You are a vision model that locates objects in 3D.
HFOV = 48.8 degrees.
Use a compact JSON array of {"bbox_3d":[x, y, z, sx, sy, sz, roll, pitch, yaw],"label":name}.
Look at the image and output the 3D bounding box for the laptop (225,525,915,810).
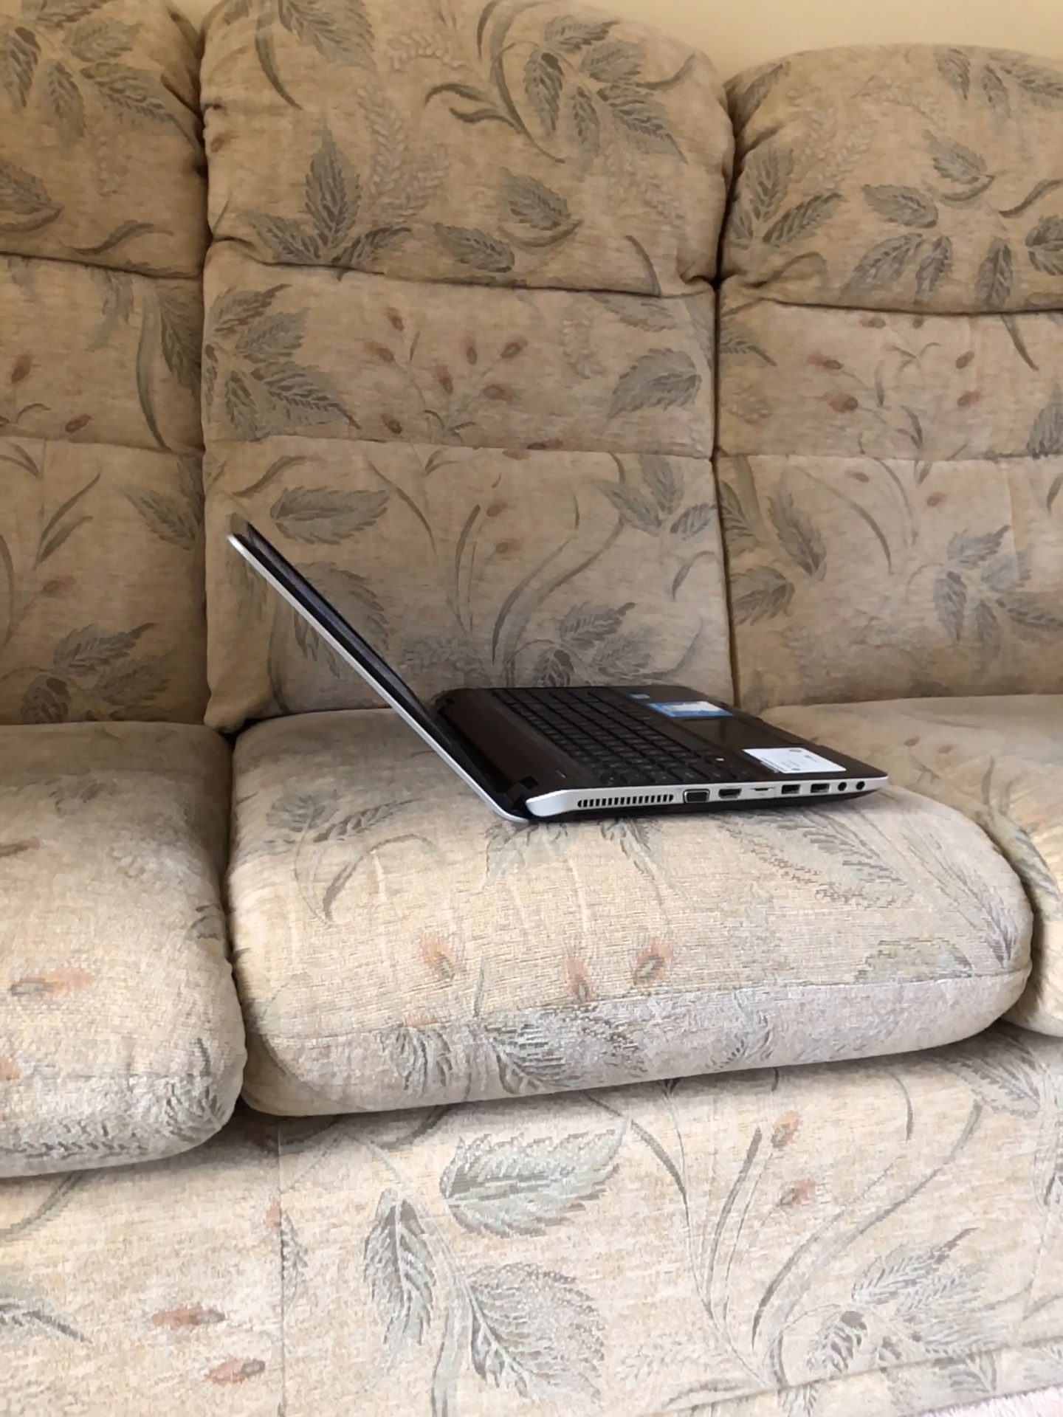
[{"bbox_3d":[-0.008,-0.056,0.876,0.410,0.151,0.397,-2,11,-15],"label":"laptop"}]
